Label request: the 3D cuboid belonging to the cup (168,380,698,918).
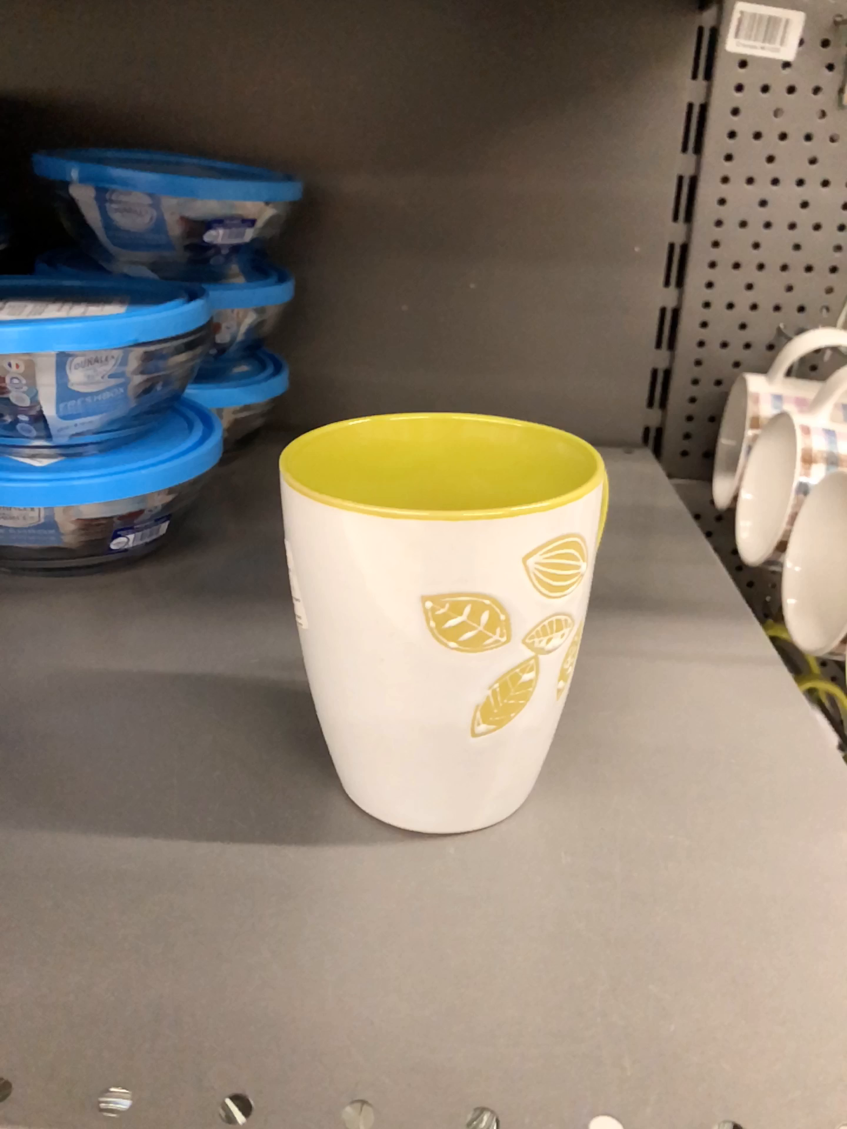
[{"bbox_3d":[0.008,0.010,0.283,0.094,0.095,0.126,17,28,31],"label":"cup"}]
